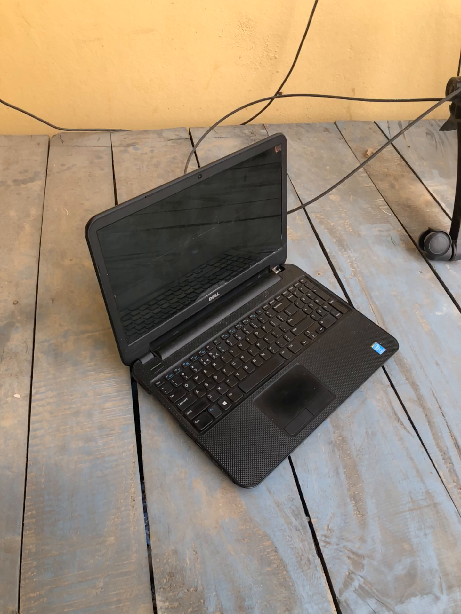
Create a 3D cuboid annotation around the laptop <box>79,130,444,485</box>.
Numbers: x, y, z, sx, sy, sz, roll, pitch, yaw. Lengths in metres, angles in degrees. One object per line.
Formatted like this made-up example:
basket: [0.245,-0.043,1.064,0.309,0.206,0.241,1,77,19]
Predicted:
laptop: [0.040,-0.025,0.694,0.332,0.214,0.307,-34,59,-31]
